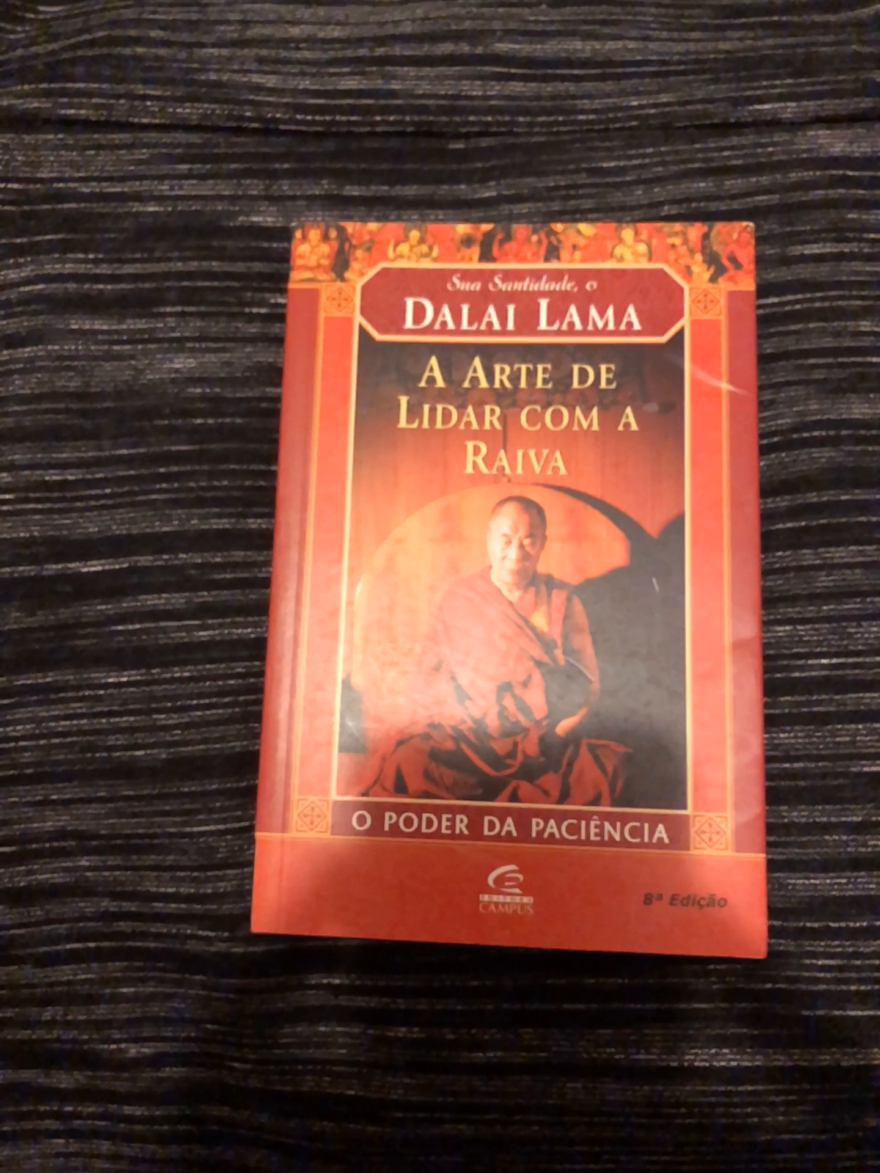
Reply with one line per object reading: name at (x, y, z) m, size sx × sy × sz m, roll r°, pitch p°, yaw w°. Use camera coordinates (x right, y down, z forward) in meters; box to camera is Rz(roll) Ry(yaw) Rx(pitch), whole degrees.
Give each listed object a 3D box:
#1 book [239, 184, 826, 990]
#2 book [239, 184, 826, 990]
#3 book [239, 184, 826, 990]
book at (0.027, -0.006, 0.283) m, size 0.150 × 0.030 × 0.220 m, roll 1°, pitch 81°, yaw 3°
book at (0.027, -0.006, 0.283) m, size 0.150 × 0.030 × 0.220 m, roll 1°, pitch 81°, yaw 3°
book at (0.027, -0.006, 0.283) m, size 0.150 × 0.030 × 0.220 m, roll 1°, pitch 81°, yaw 3°
